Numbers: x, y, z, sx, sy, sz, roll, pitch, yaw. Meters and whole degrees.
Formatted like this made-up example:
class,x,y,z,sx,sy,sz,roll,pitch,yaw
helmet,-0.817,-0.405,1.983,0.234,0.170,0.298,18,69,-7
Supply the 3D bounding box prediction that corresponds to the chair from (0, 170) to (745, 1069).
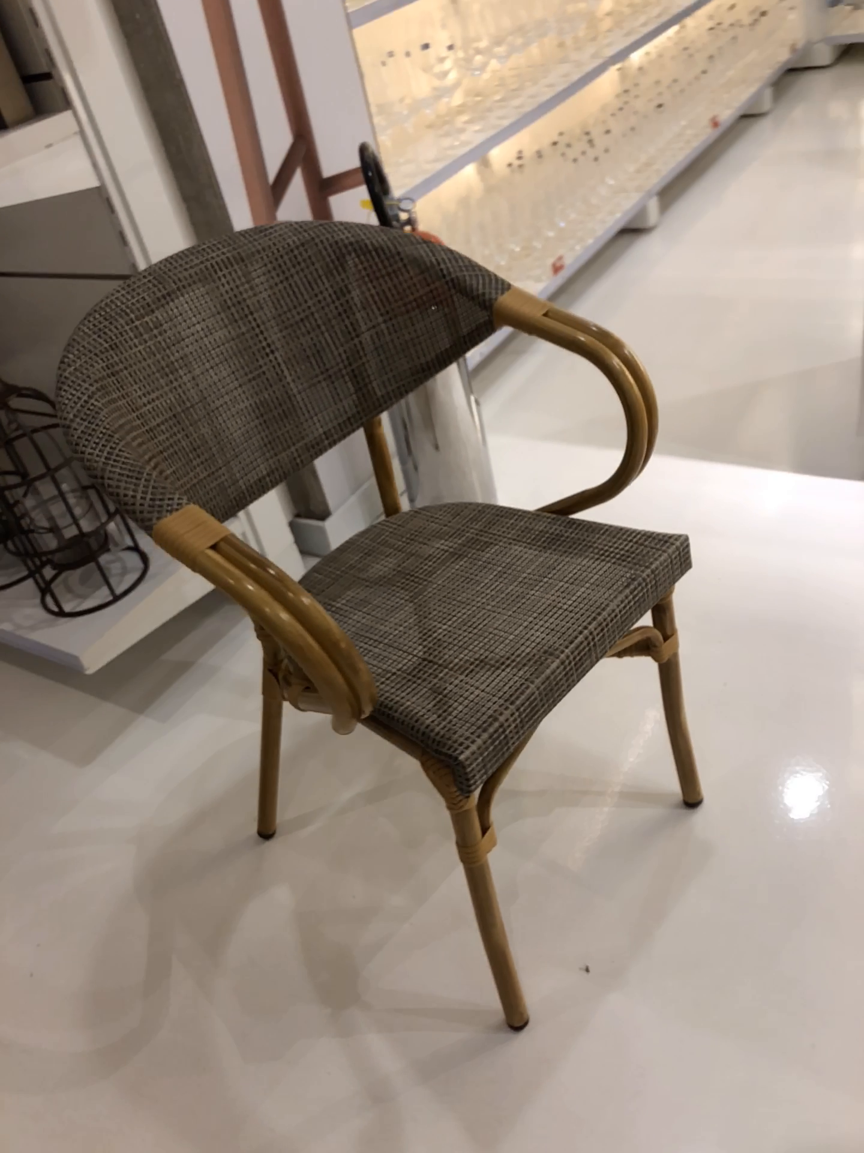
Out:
class,x,y,z,sx,sy,sz,roll,pitch,yaw
chair,-0.027,0.010,1.145,0.572,0.783,0.522,21,49,40
